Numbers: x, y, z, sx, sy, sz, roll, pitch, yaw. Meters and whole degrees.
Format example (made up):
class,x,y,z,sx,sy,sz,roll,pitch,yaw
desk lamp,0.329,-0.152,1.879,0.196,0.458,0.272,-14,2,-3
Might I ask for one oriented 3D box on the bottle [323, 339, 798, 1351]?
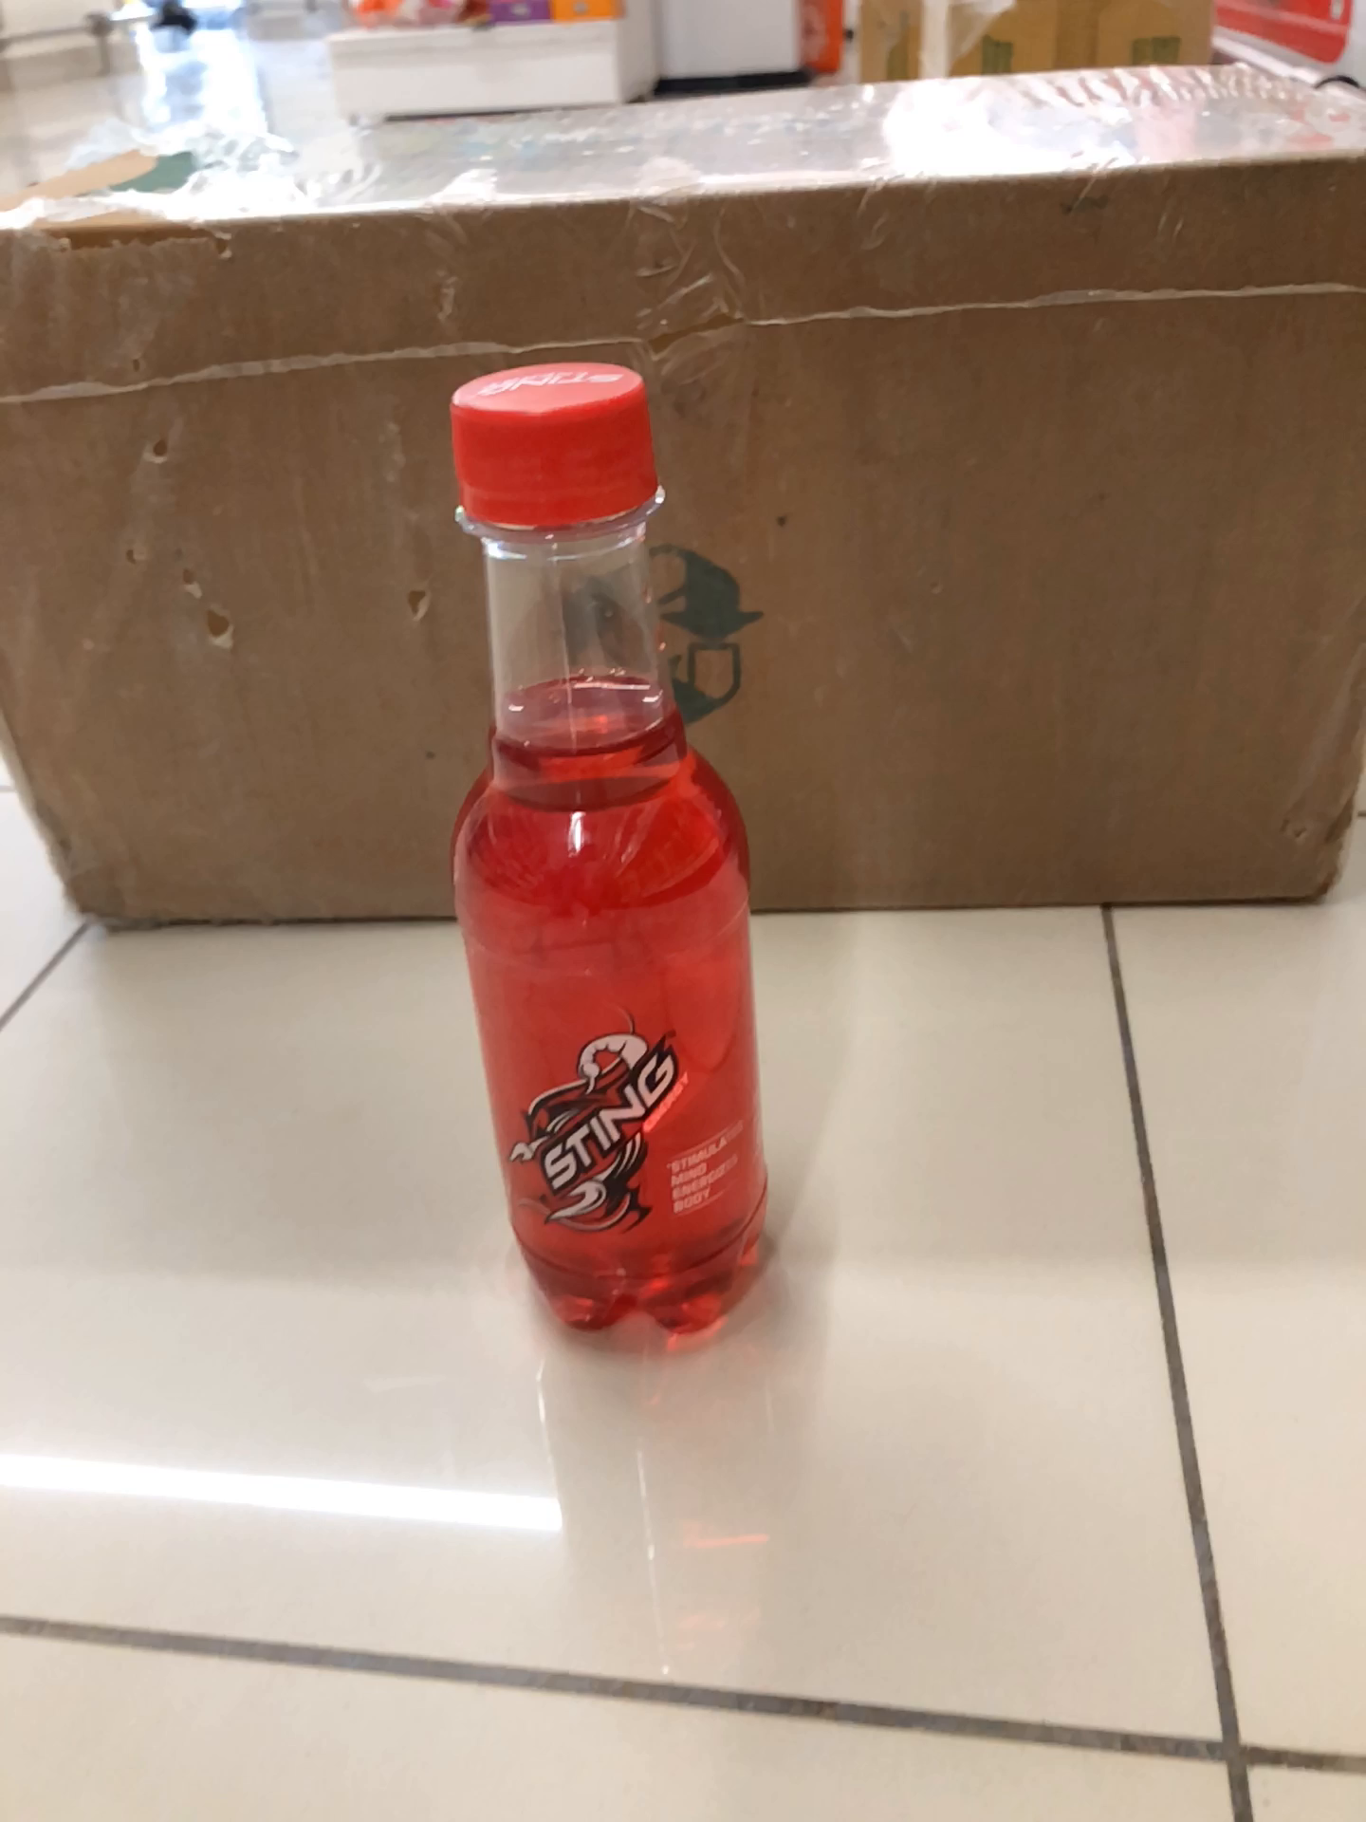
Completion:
class,x,y,z,sx,sy,sz,roll,pitch,yaw
bottle,-0.012,-0.006,0.284,0.060,0.179,0.060,-3,31,2
